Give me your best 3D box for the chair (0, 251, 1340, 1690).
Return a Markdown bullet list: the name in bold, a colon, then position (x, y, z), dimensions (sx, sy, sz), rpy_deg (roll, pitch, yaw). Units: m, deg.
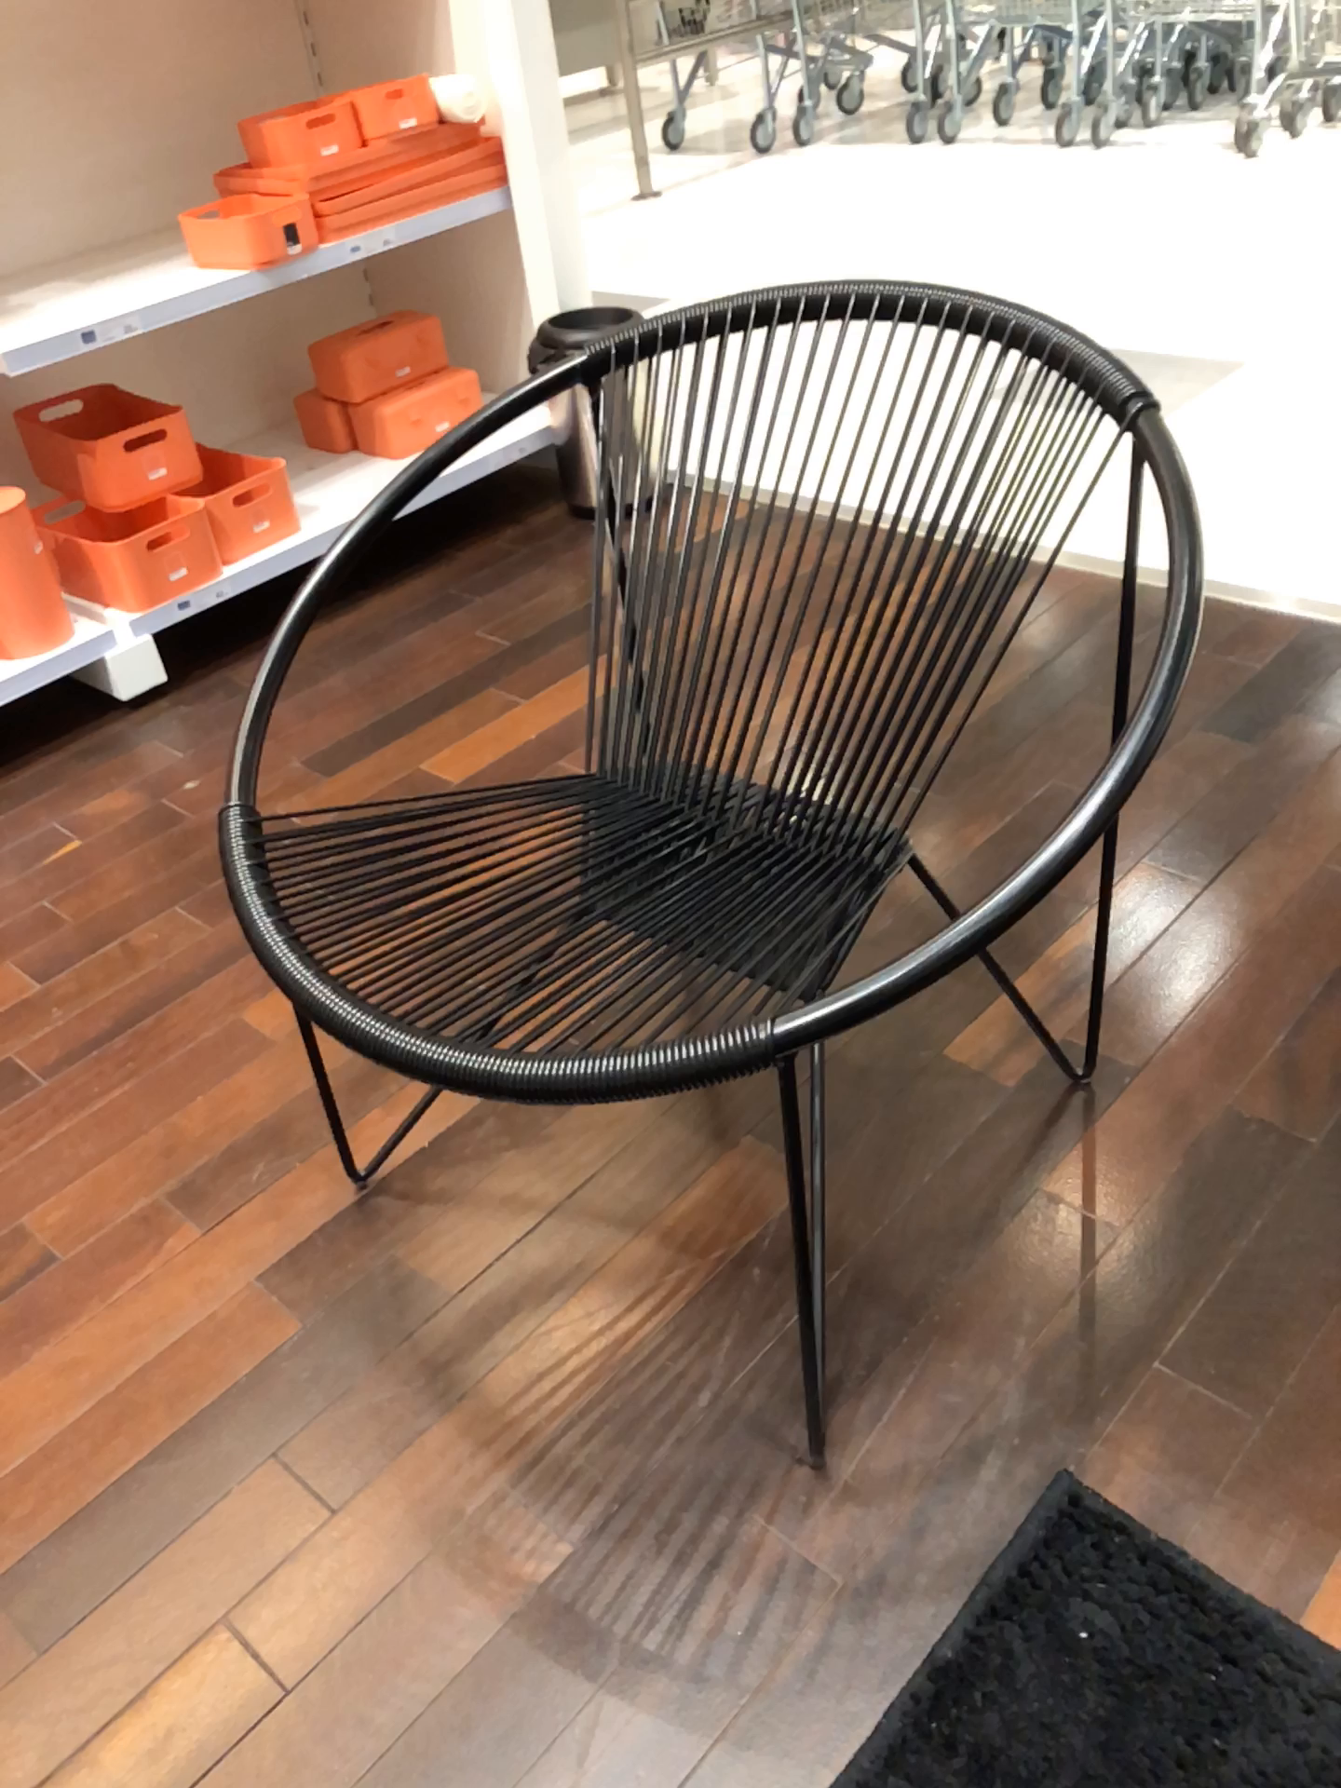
- **chair**: position (0.044, -0.055, 1.177), dimensions (0.703, 0.675, 0.733), rpy_deg (22, 44, 37)
